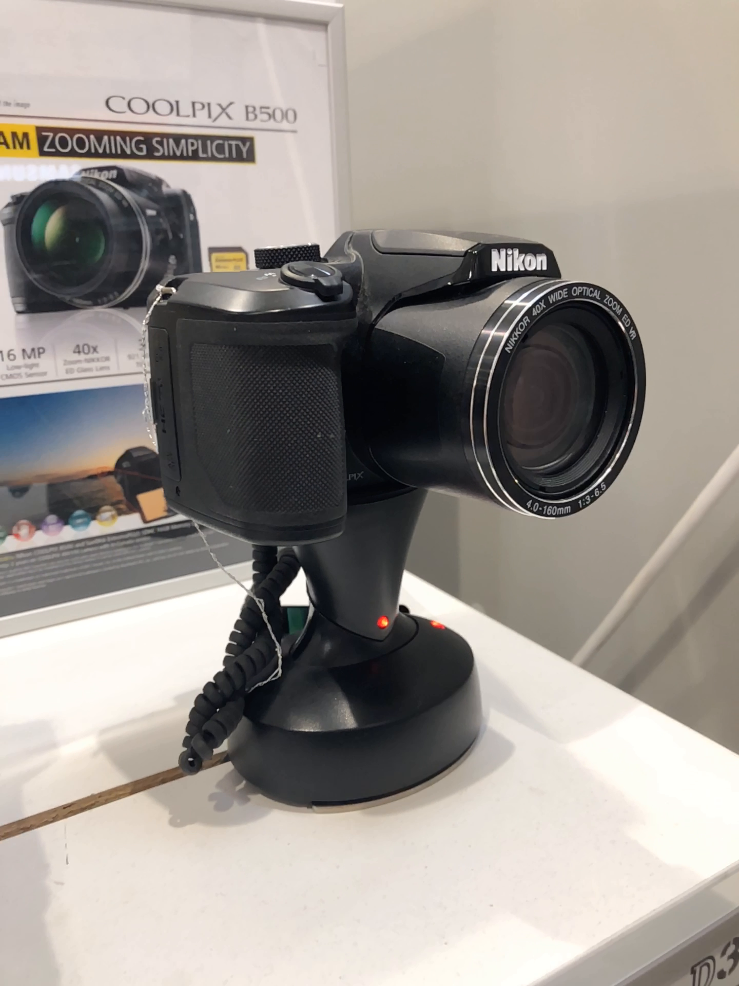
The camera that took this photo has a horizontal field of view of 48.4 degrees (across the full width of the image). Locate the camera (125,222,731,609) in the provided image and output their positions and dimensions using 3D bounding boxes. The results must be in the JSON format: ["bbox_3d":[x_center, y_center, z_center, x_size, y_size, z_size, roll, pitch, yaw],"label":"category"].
[{"bbox_3d":[0.013,-0.033,0.221,0.120,0.070,0.100,-12,19,-32],"label":"camera"}]
